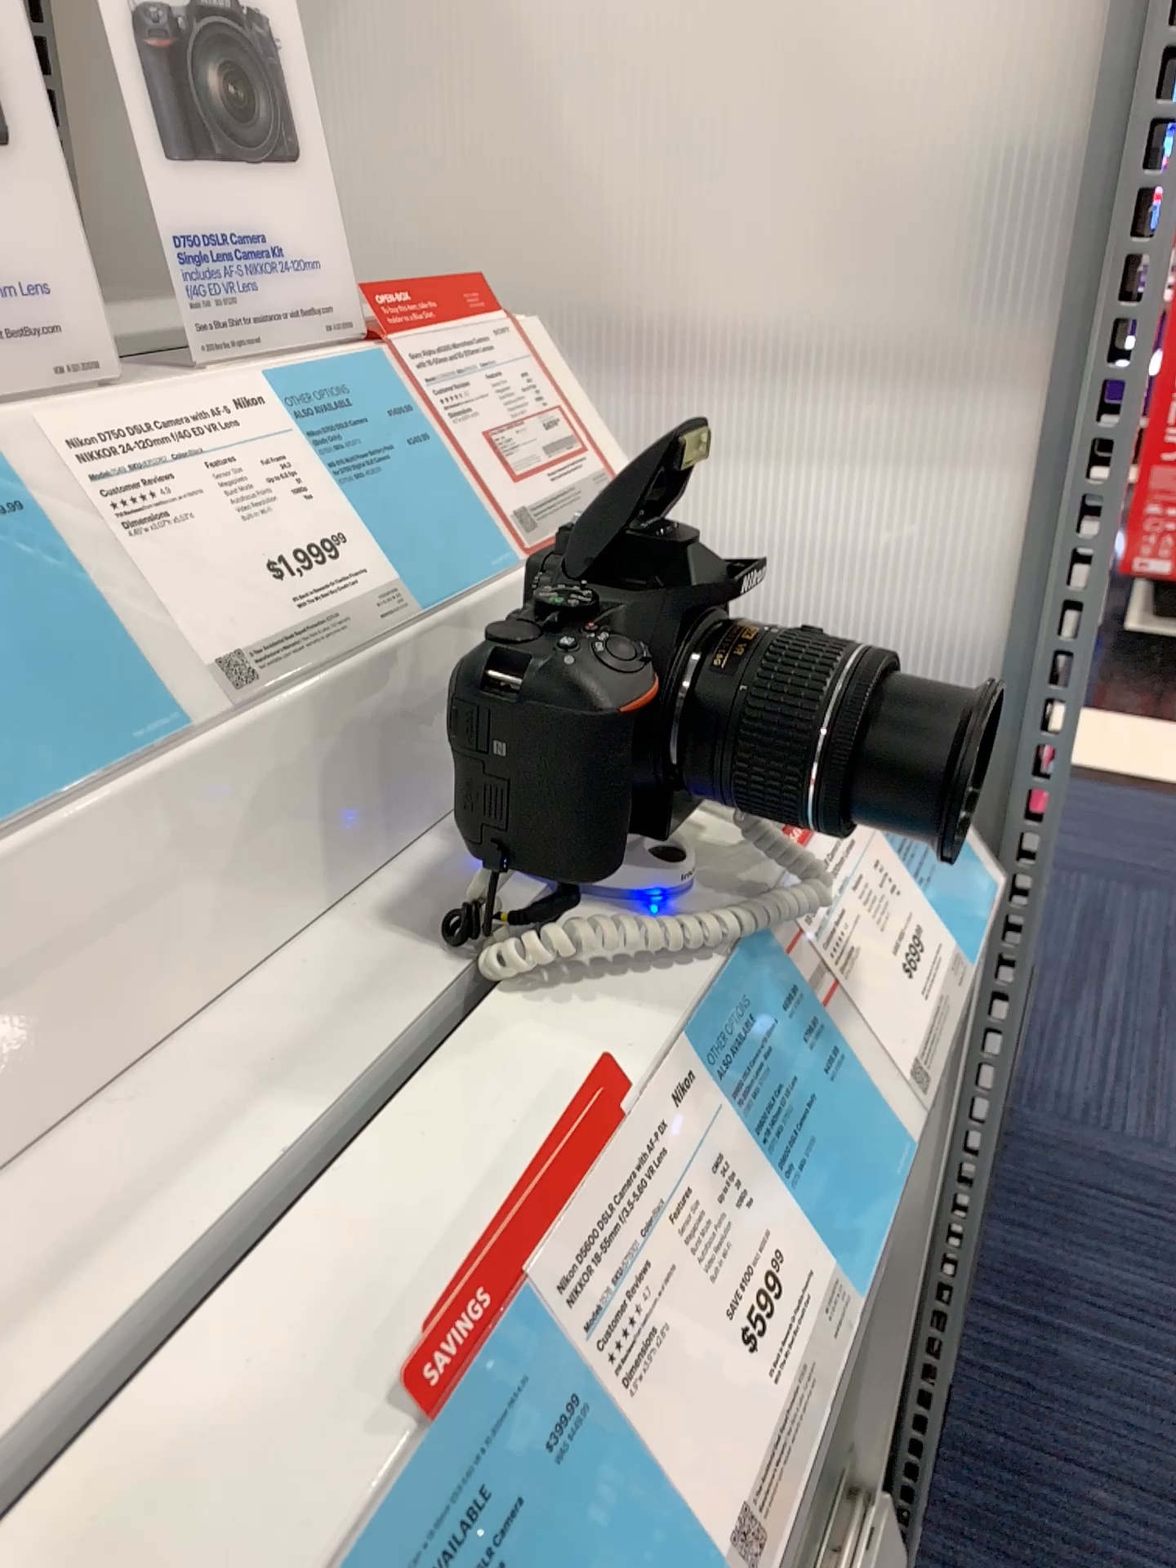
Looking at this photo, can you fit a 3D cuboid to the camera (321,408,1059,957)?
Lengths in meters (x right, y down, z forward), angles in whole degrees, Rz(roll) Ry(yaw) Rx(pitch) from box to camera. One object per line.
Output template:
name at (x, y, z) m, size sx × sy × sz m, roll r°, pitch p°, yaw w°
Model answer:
camera at (0.039, -0.048, 0.389) m, size 0.190 × 0.109 × 0.141 m, roll 10°, pitch 28°, yaw 19°
